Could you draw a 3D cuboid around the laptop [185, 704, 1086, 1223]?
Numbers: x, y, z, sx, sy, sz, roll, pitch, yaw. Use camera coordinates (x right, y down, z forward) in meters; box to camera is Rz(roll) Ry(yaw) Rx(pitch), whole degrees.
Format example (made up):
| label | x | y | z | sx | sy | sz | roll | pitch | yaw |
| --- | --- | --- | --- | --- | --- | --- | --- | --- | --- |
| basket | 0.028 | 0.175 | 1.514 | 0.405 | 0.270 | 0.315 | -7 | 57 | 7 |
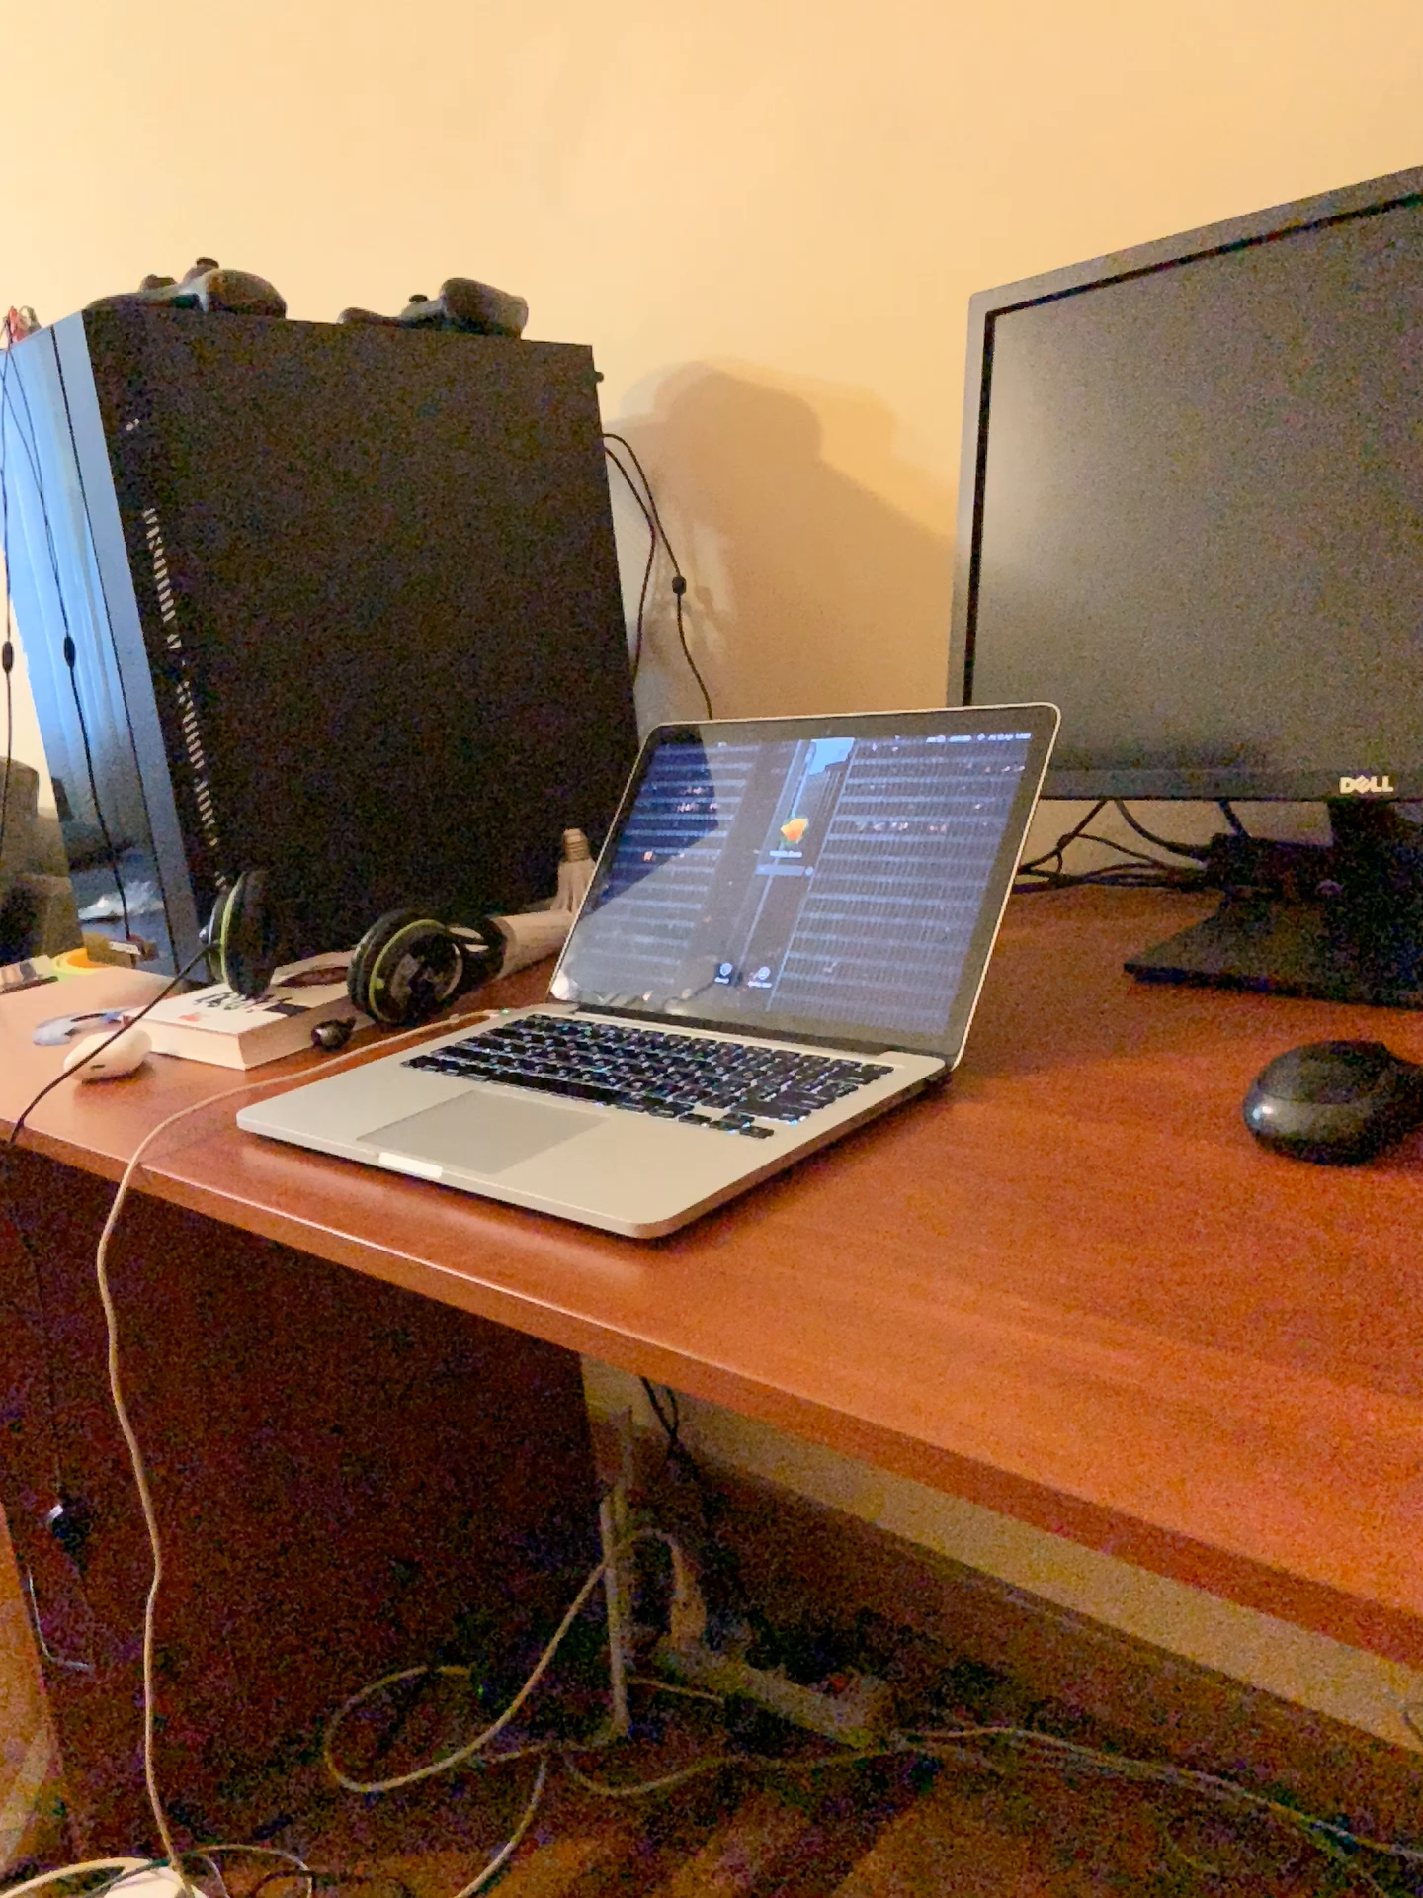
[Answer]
| label | x | y | z | sx | sy | sz | roll | pitch | yaw |
| --- | --- | --- | --- | --- | --- | --- | --- | --- | --- |
| laptop | -0.028 | -0.022 | 0.763 | 0.300 | 0.155 | 0.341 | 5 | 18 | 41 |
